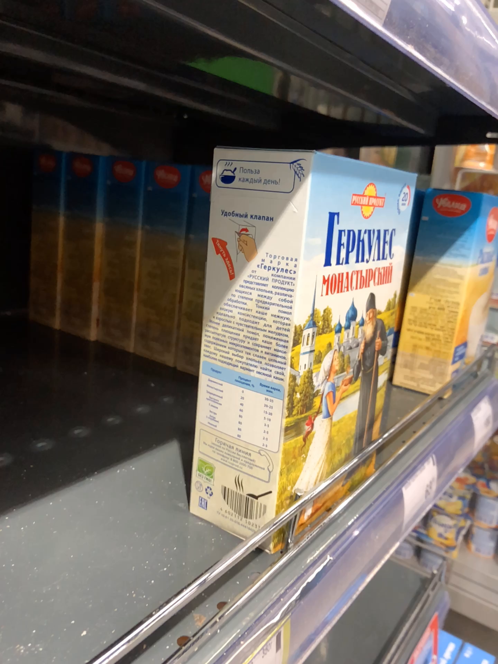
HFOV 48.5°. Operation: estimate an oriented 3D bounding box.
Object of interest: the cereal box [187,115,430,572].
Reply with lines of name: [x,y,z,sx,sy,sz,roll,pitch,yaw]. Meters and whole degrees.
cereal box: [0.036,-0.002,0.303,0.060,0.199,0.130,12,15,32]
